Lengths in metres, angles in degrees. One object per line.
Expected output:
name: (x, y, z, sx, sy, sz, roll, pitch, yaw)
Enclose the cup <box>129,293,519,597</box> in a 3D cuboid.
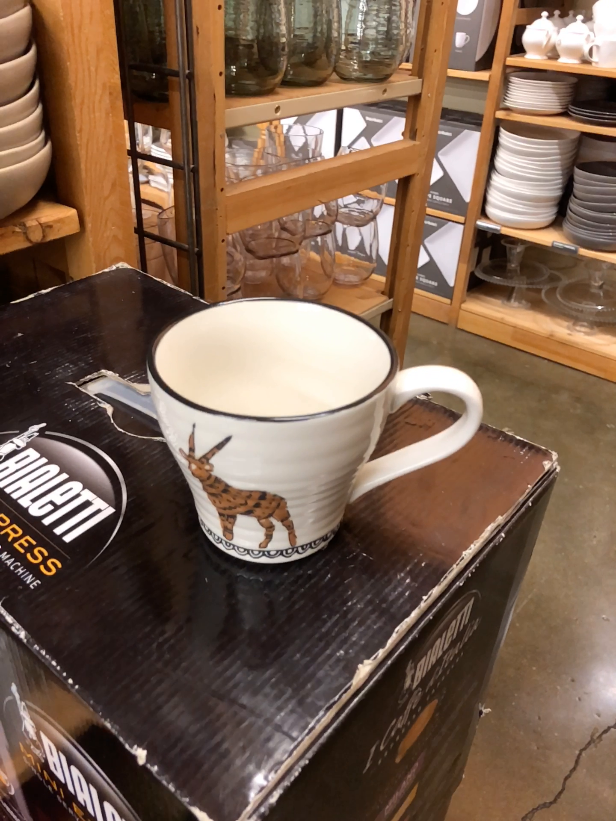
cup: (0.002, 0.011, 0.291, 0.130, 0.084, 0.102, 1, 33, -4)
